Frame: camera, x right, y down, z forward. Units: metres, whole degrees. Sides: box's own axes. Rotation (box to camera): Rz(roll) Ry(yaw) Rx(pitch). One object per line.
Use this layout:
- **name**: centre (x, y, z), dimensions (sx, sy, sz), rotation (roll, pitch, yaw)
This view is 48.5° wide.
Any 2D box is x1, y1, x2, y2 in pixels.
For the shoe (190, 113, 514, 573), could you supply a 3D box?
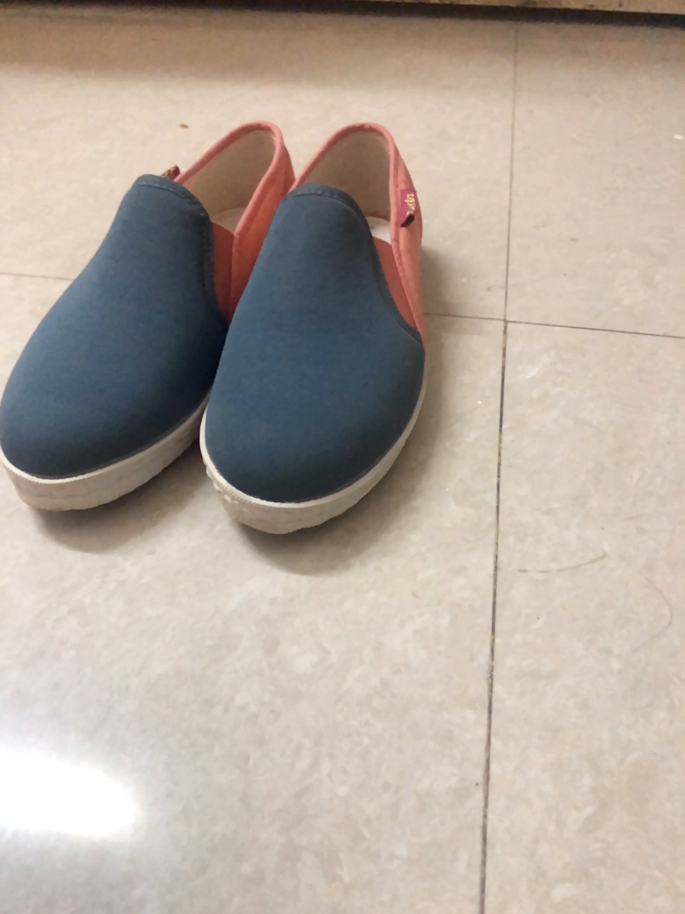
- **shoe**: centre (0.017, -0.065, 0.309), dimensions (0.090, 0.060, 0.222), rotation (6, 45, 6)

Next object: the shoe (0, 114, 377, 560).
- **shoe**: centre (-0.054, -0.069, 0.322), dimensions (0.090, 0.060, 0.222), rotation (10, 45, 10)
